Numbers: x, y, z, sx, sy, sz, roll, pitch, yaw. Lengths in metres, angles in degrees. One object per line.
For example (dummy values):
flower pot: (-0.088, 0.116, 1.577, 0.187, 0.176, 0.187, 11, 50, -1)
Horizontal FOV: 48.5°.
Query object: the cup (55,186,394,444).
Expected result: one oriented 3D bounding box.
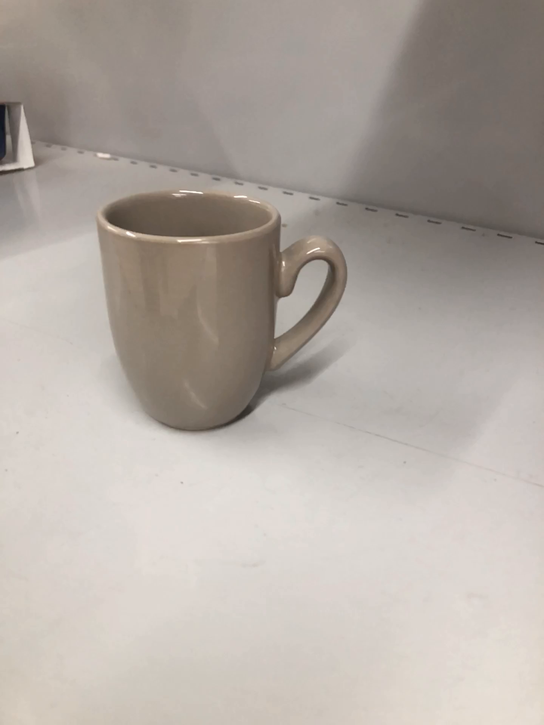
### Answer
cup: (-0.016, -0.020, 0.206, 0.091, 0.062, 0.065, -3, 30, -7)
